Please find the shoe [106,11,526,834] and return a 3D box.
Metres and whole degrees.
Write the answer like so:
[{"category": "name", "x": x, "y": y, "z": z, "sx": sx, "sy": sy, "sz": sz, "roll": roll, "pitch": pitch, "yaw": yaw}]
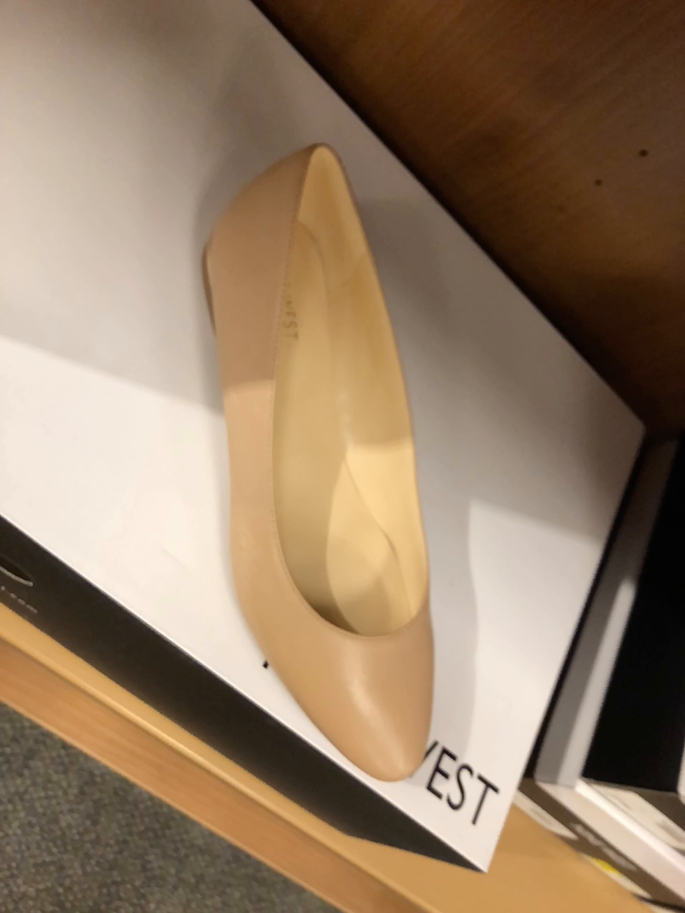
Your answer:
[{"category": "shoe", "x": -0.013, "y": -0.014, "z": 0.297, "sx": 0.082, "sy": 0.070, "sz": 0.270, "roll": -12, "pitch": 88, "yaw": -33}]
